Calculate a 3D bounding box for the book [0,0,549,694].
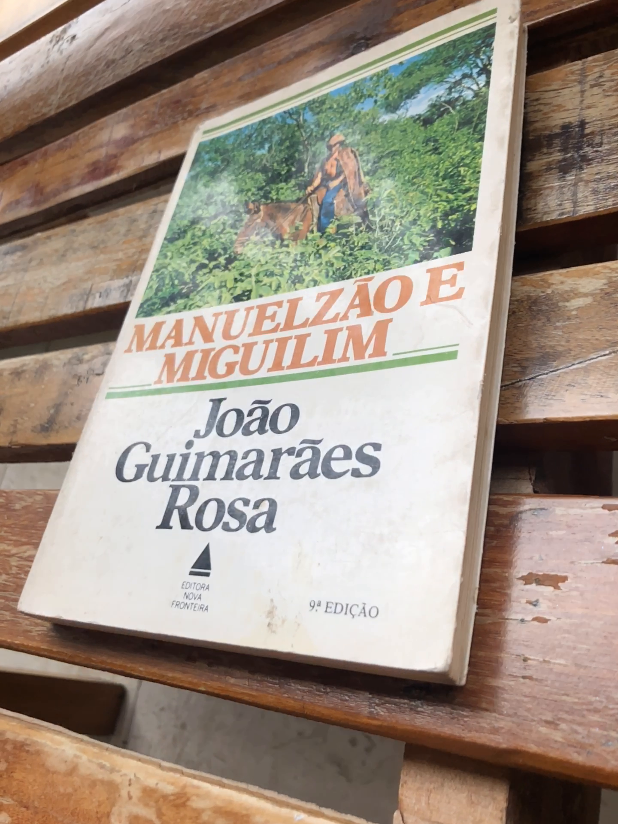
[{"bbox_3d":[-0.008,-0.034,0.206,0.142,0.020,0.200,-6,60,33],"label":"book"}]
